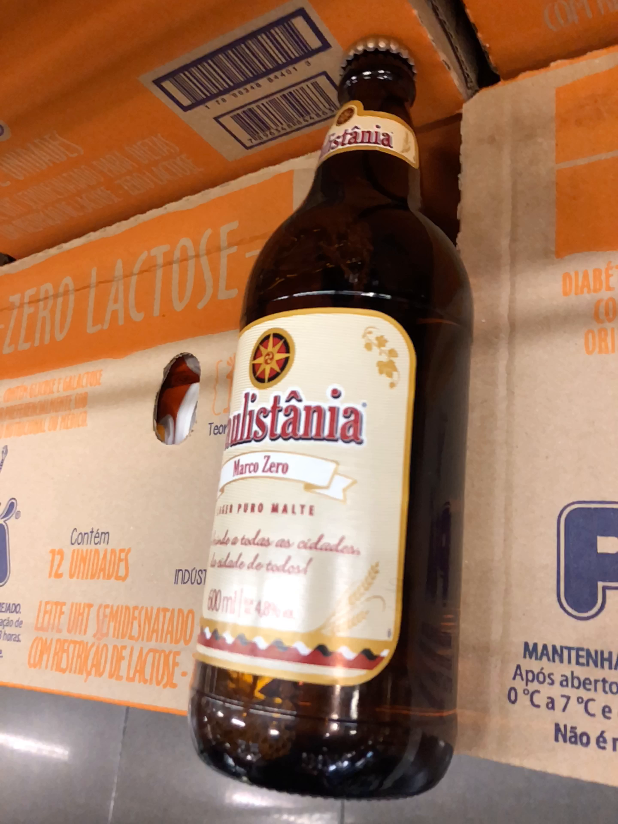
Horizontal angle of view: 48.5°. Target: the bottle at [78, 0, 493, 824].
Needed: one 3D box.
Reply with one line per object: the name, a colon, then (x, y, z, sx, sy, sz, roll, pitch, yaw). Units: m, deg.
bottle: (0.003, -0.030, 0.202, 0.080, 0.050, 0.250, -5, 70, 33)
